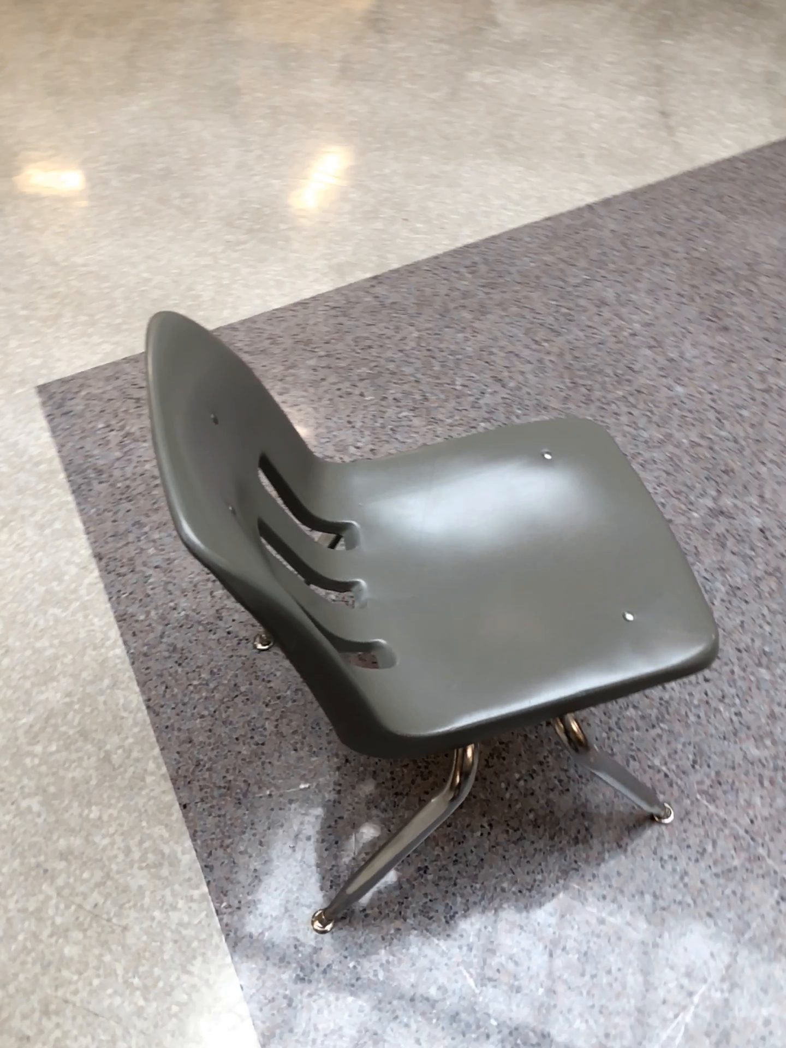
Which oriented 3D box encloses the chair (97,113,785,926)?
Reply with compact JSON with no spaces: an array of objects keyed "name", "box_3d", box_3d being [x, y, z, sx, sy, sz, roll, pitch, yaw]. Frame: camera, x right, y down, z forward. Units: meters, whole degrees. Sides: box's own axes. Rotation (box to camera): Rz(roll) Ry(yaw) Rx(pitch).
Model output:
[{"name":"chair","box_3d":[0.062,0.035,0.962,0.550,0.666,0.513,-13,54,-8]}]
